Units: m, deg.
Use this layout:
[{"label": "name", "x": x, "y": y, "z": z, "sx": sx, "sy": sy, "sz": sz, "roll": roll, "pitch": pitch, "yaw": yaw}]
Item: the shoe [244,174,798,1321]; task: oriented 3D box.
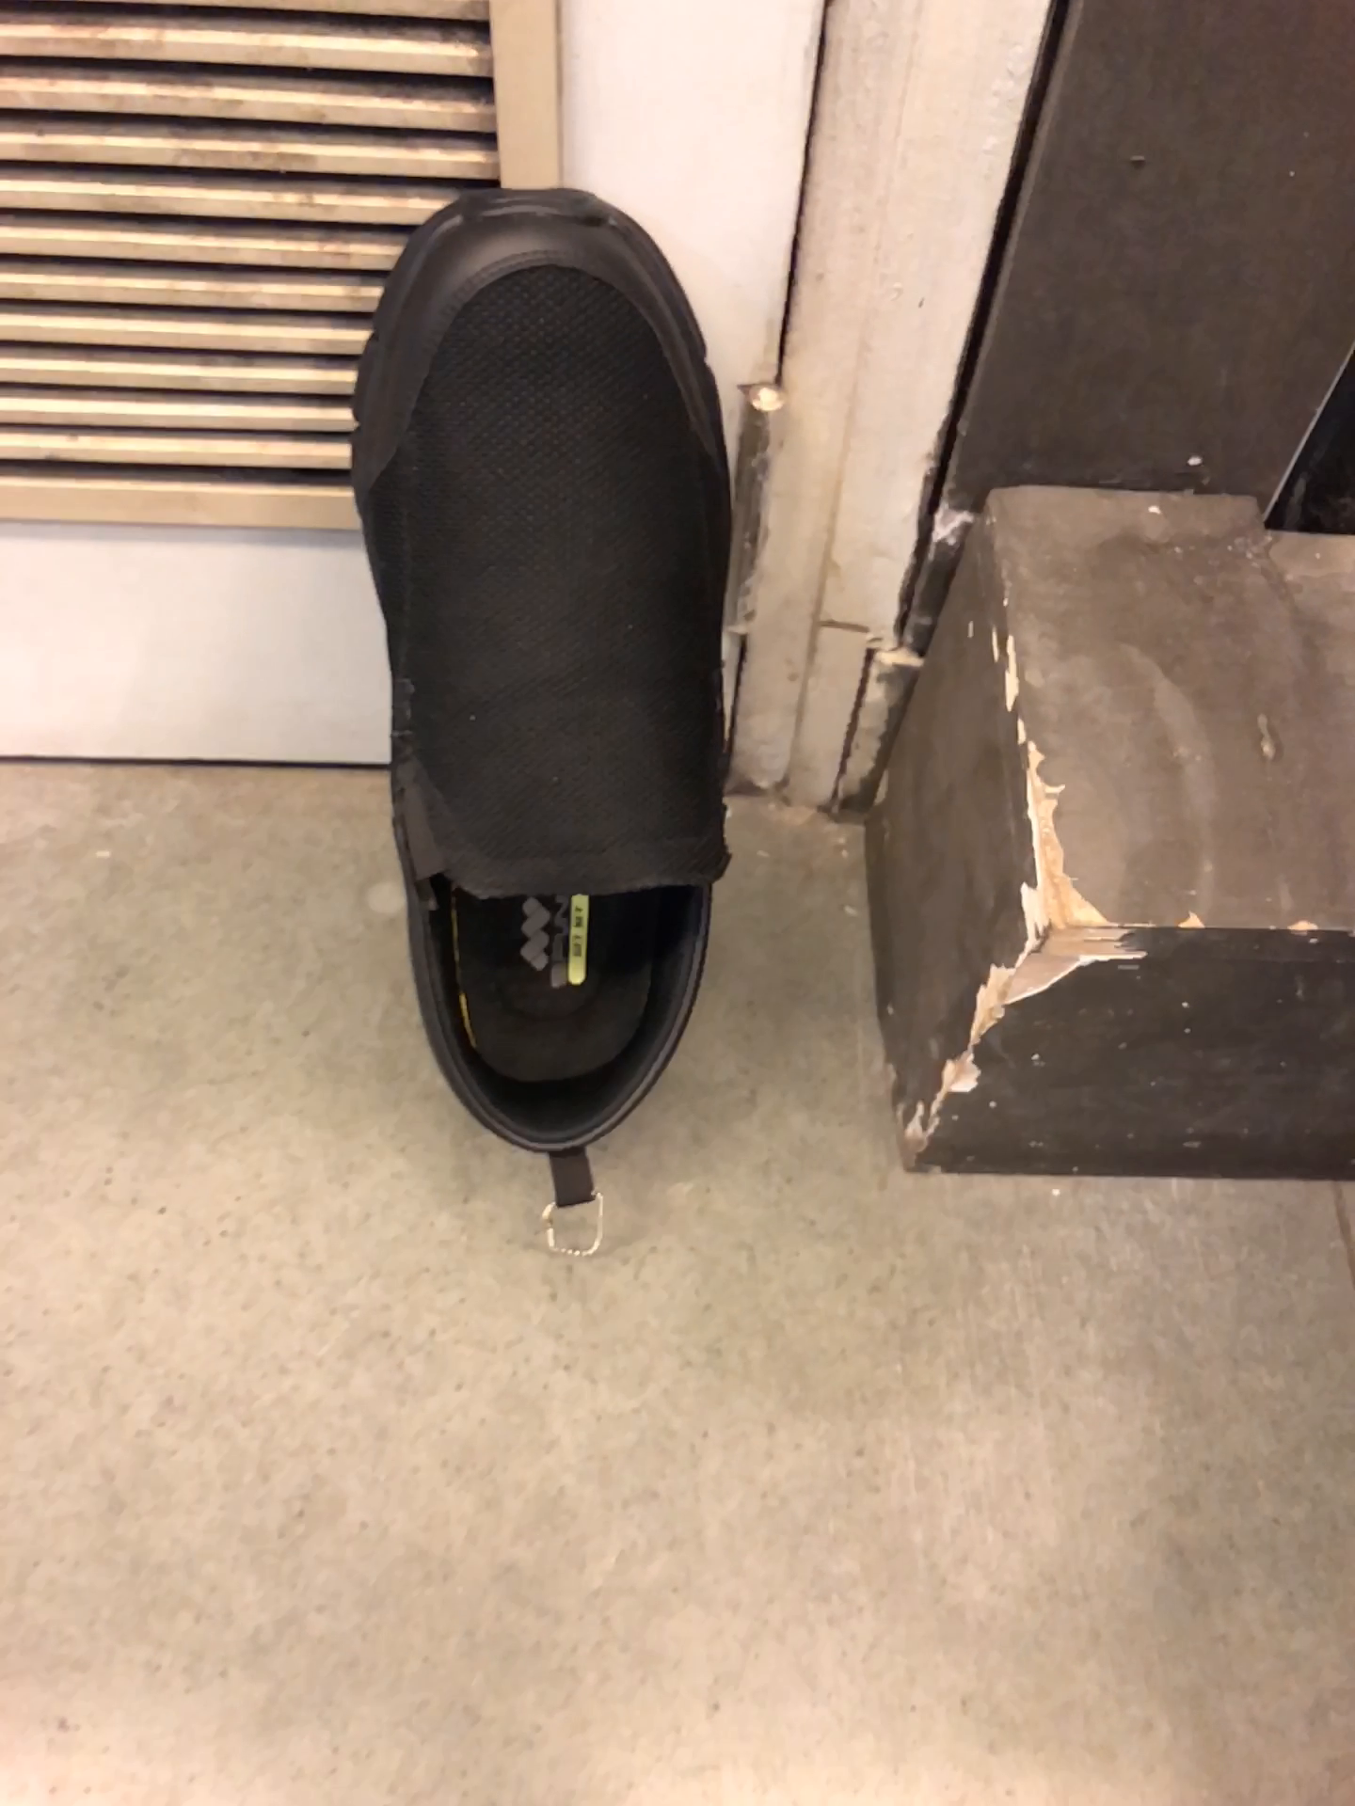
[{"label": "shoe", "x": -0.036, "y": -0.043, "z": 0.425, "sx": 0.111, "sy": 0.291, "sz": 0.128, "roll": -4, "pitch": 27, "yaw": -5}]
